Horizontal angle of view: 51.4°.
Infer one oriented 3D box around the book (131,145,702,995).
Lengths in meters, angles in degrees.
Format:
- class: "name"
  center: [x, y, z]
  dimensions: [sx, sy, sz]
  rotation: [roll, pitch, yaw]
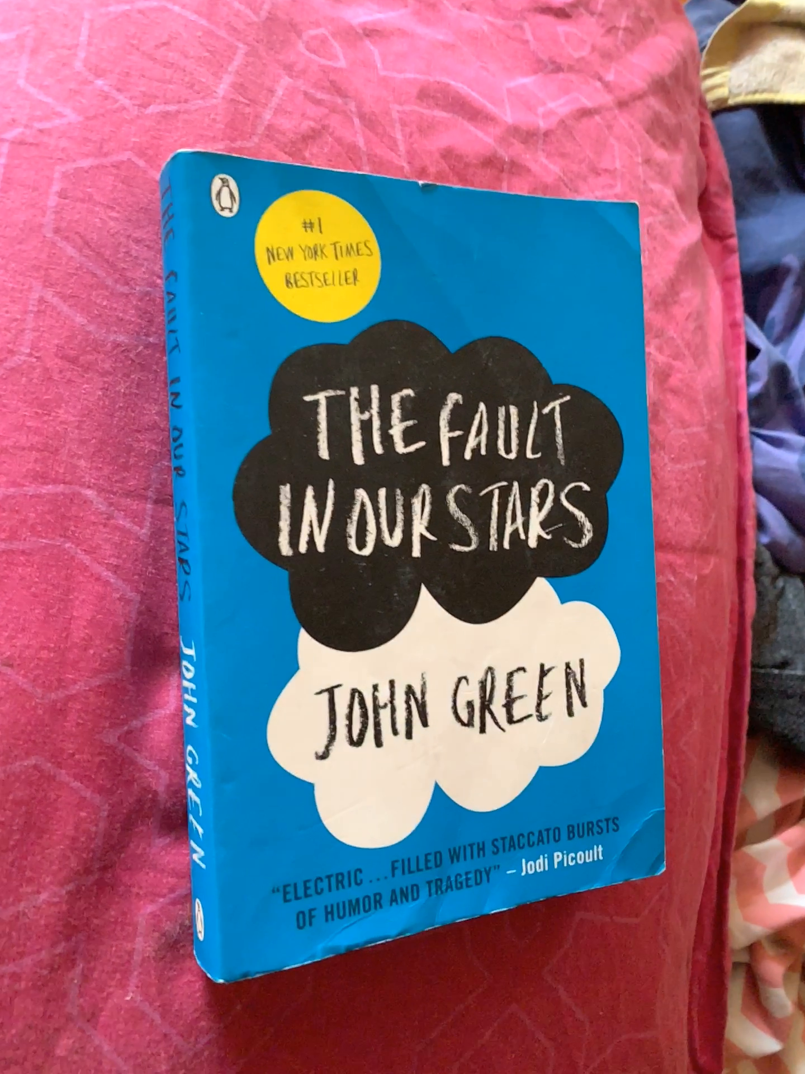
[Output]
- class: "book"
  center: [0.005, 0.001, 0.214]
  dimensions: [0.130, 0.030, 0.179]
  rotation: [-3, 85, -23]
